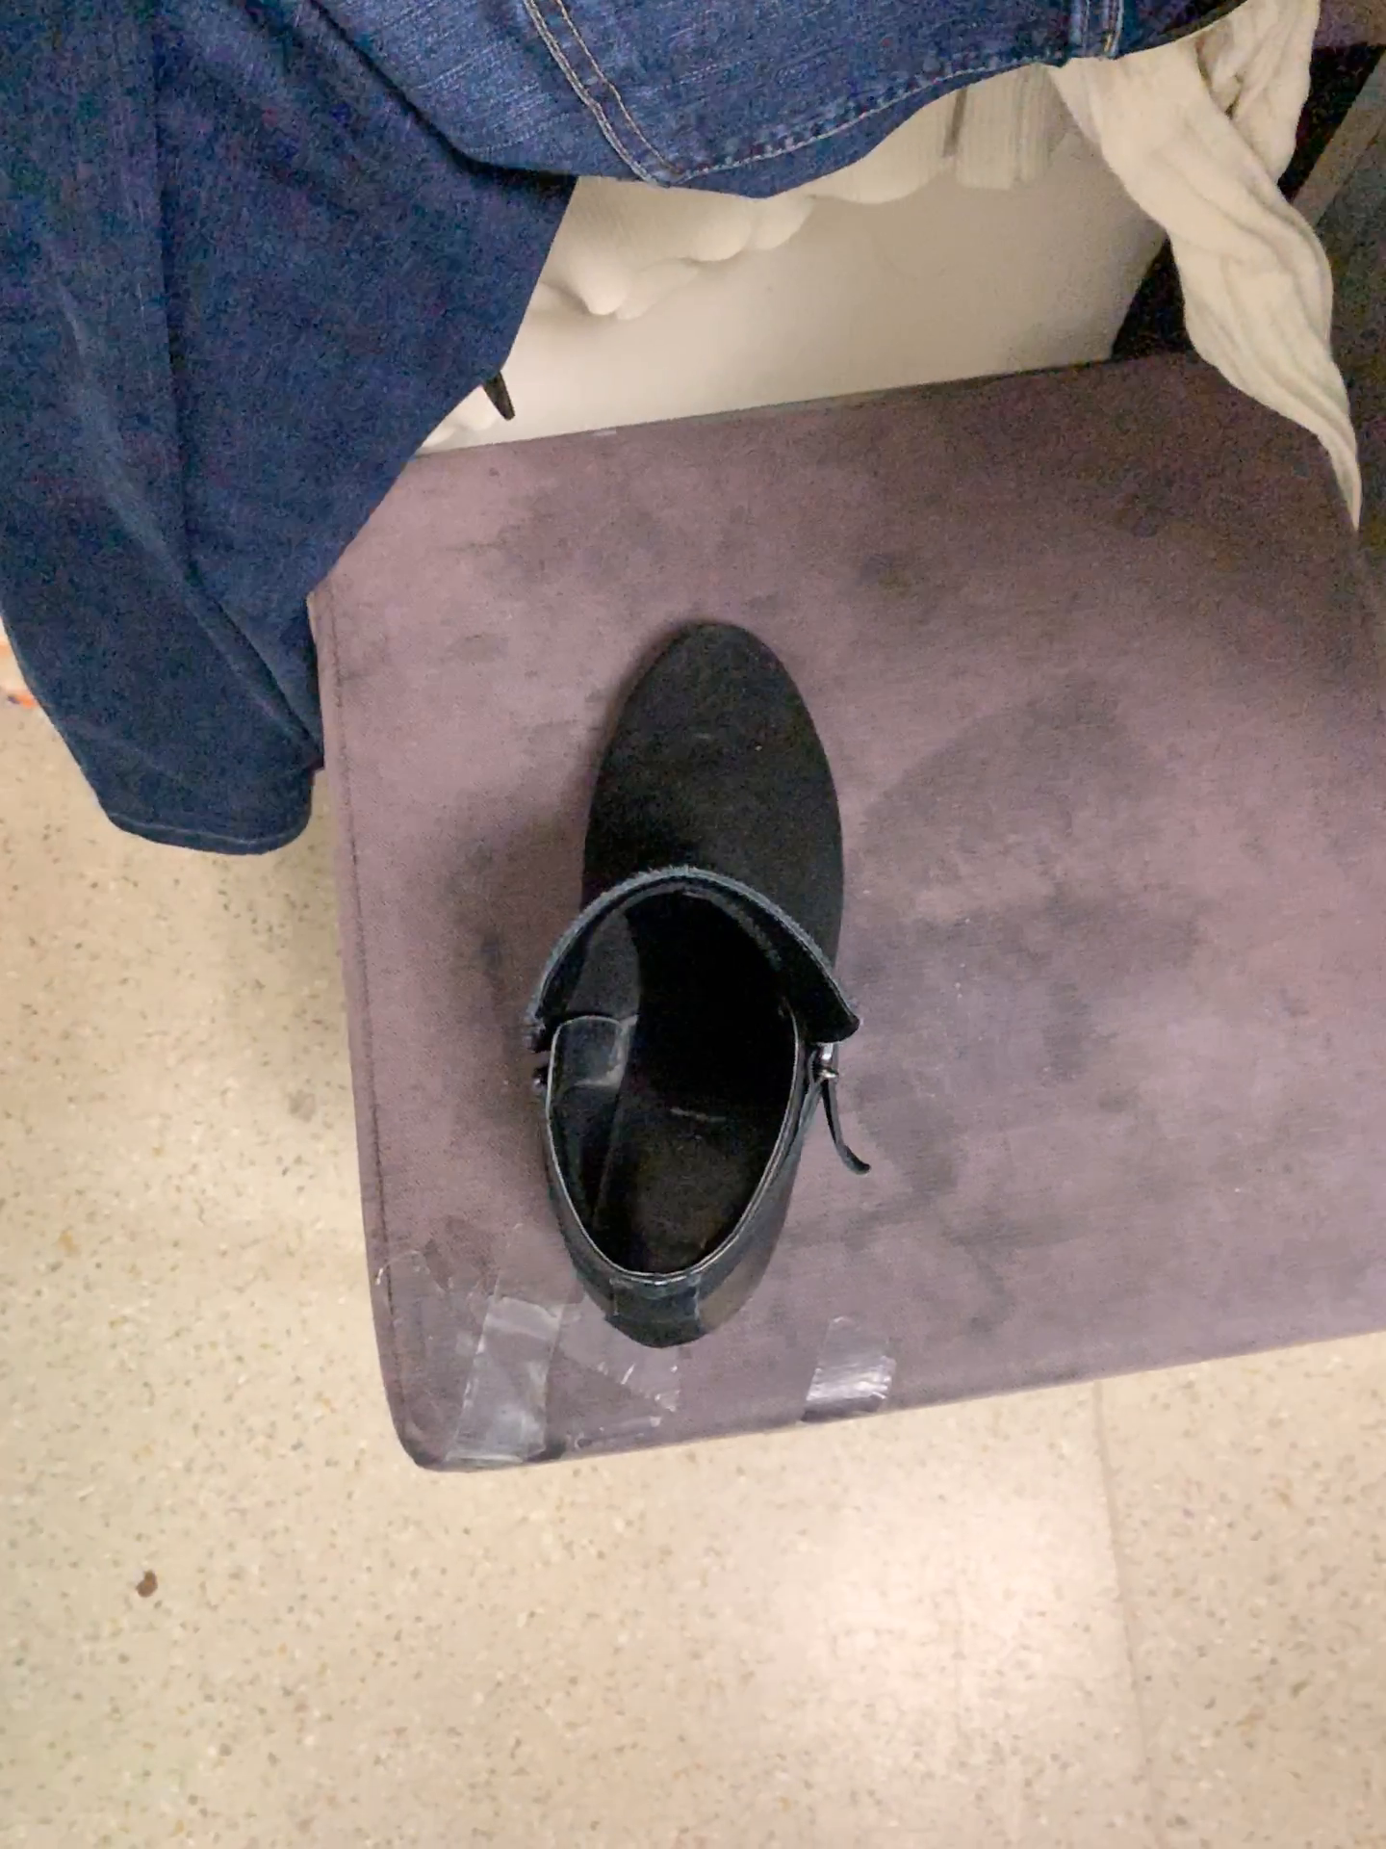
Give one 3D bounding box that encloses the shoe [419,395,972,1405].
[{"bbox_3d":[0.006,-0.003,0.446,0.105,0.136,0.266,9,76,2],"label":"shoe"}]
